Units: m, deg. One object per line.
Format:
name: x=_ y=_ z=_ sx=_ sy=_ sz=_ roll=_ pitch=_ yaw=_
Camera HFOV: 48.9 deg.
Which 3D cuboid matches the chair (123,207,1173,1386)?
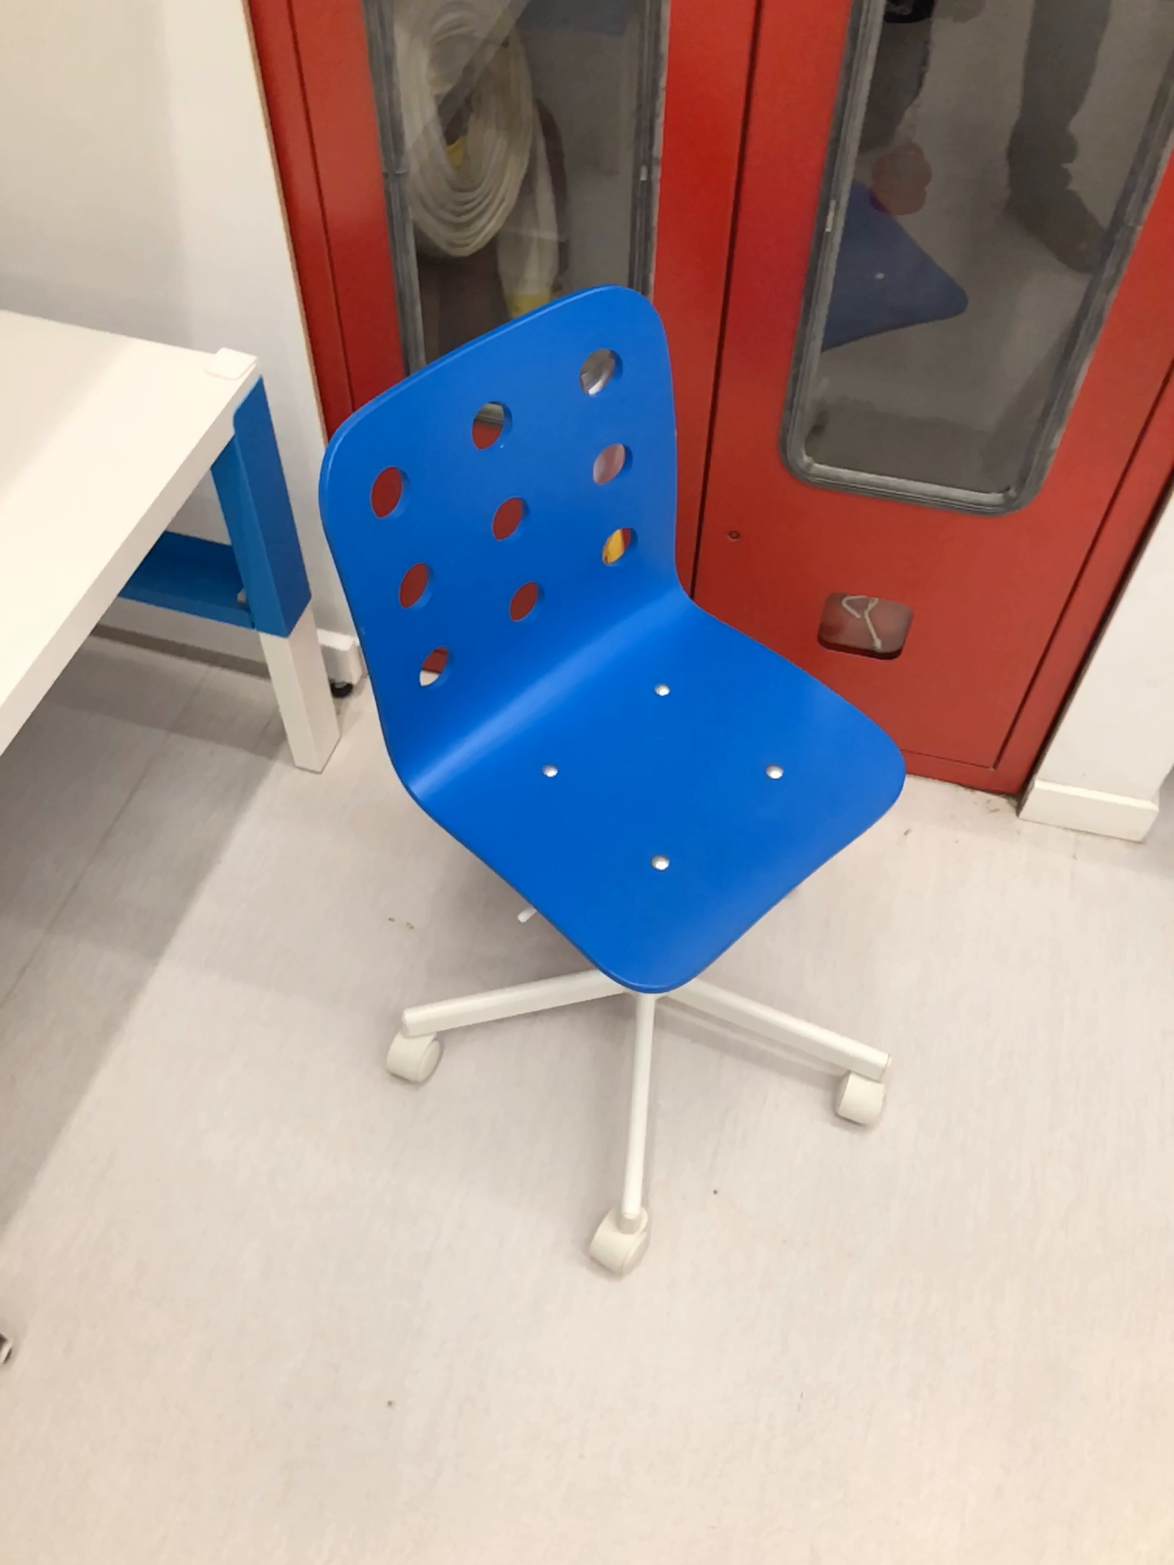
chair: x=0.086 y=0.015 z=1.112 sx=0.572 sy=0.626 sz=0.562 roll=-37 pitch=62 yaw=-25
